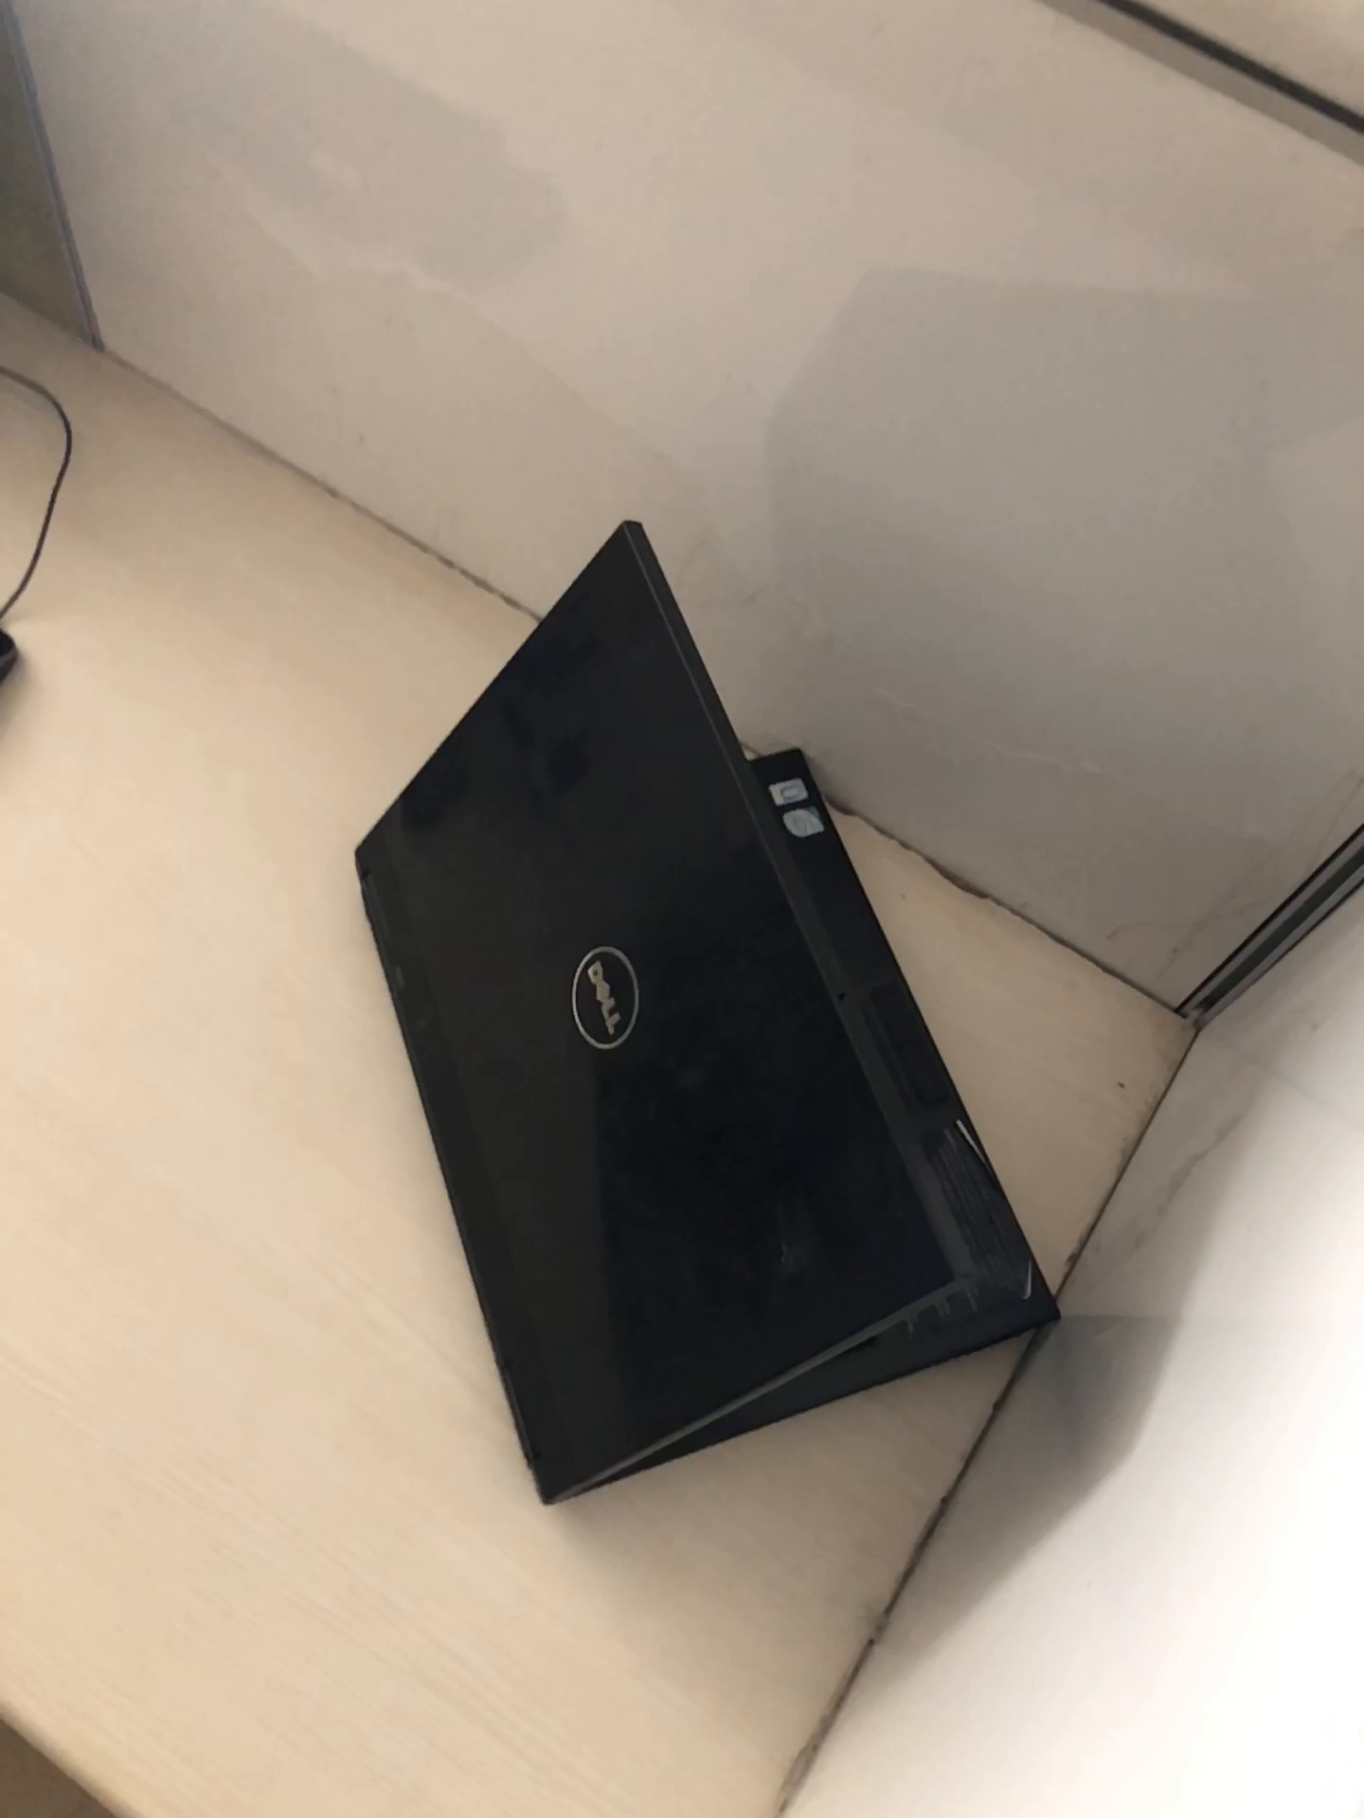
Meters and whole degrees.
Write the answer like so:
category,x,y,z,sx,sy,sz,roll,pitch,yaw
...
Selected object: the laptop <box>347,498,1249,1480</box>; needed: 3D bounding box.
category,x,y,z,sx,sy,sz,roll,pitch,yaw
laptop,0.022,0.028,0.607,0.230,0.190,0.305,-13,65,-17
